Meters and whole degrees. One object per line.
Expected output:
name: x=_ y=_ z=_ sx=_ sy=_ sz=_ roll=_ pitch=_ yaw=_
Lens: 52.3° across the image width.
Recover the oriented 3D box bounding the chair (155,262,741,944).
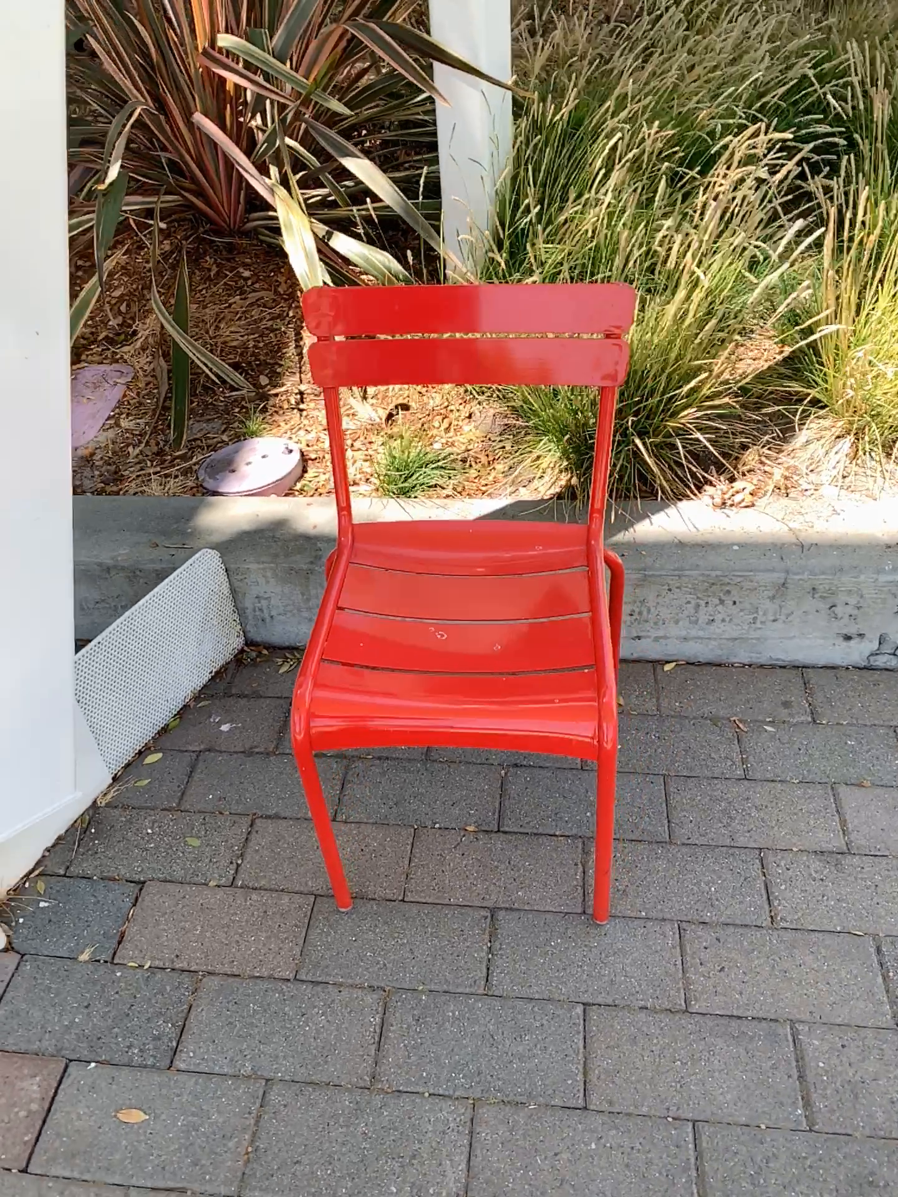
chair: x=0.041 y=0.005 z=1.389 sx=0.580 sy=0.785 sz=0.634 roll=0 pitch=39 yaw=6
